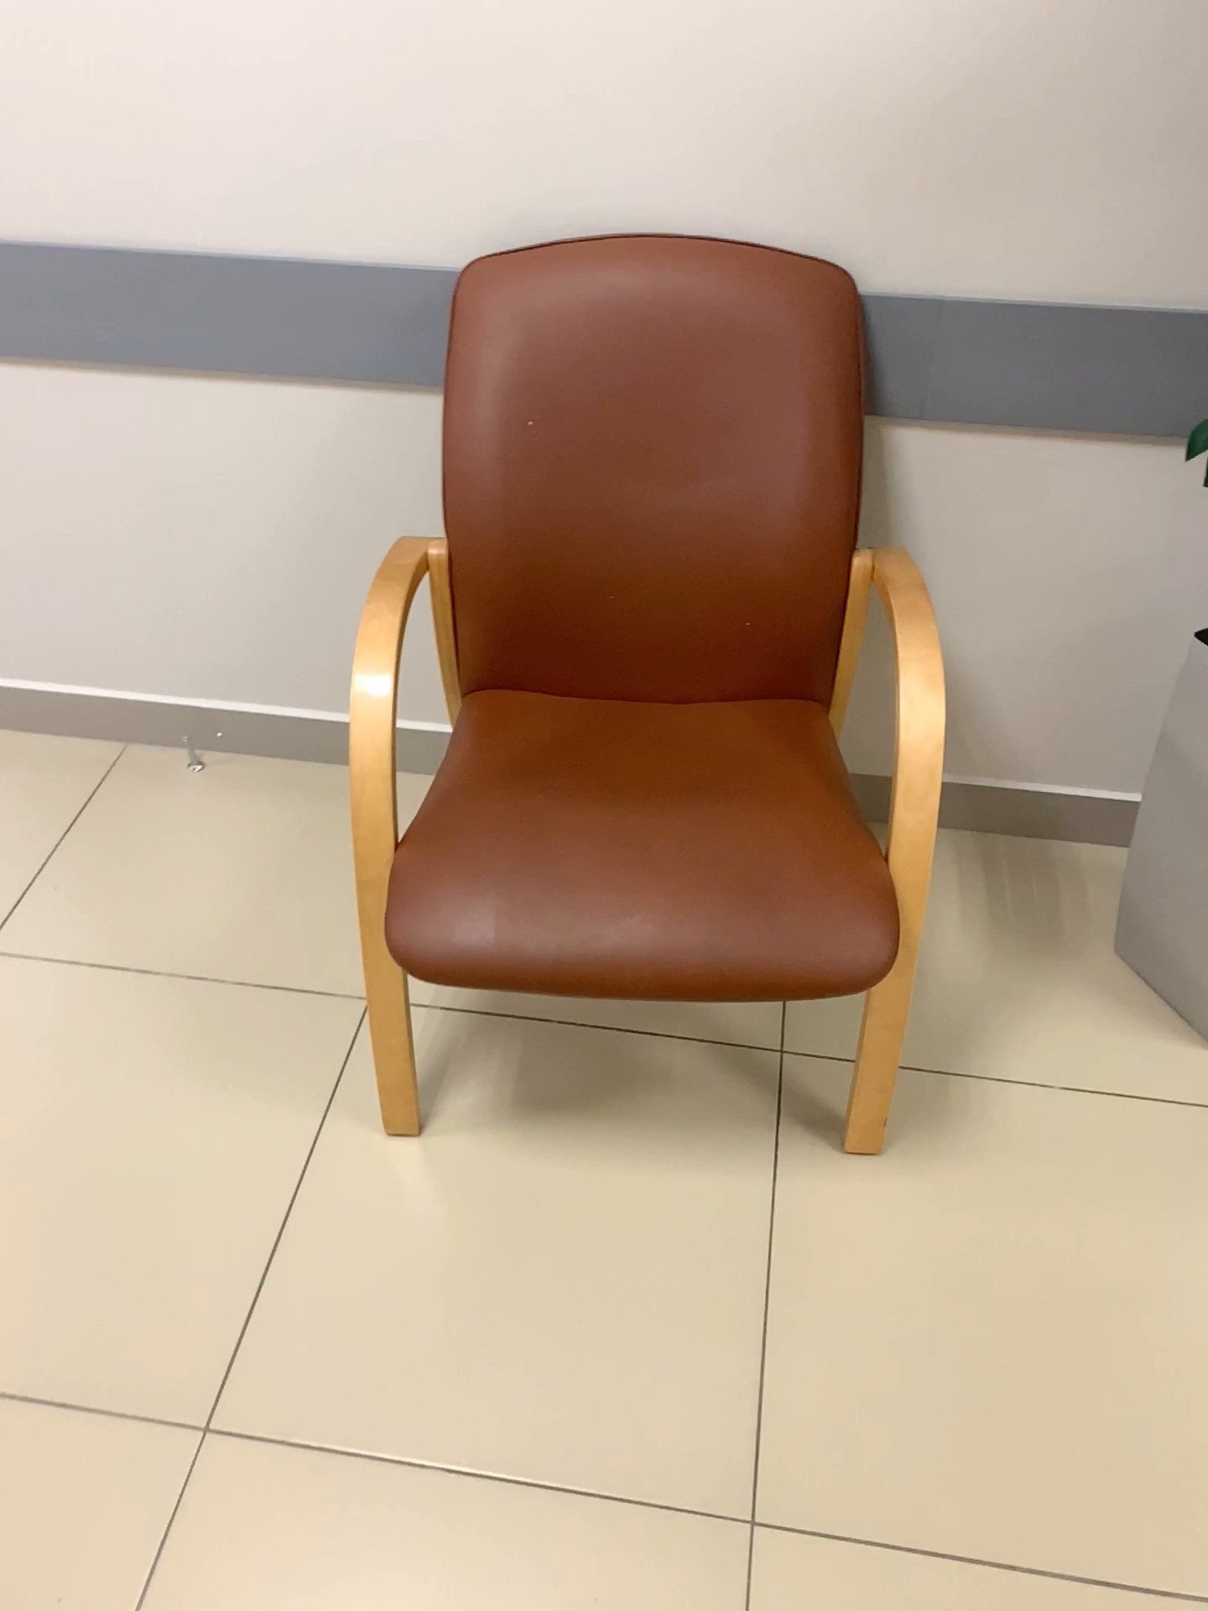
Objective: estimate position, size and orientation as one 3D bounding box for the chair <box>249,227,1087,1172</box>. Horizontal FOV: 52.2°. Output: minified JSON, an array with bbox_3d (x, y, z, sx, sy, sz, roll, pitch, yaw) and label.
[{"bbox_3d":[0.064,-0.097,1.540,0.670,0.984,0.603,2,42,3],"label":"chair"}]
